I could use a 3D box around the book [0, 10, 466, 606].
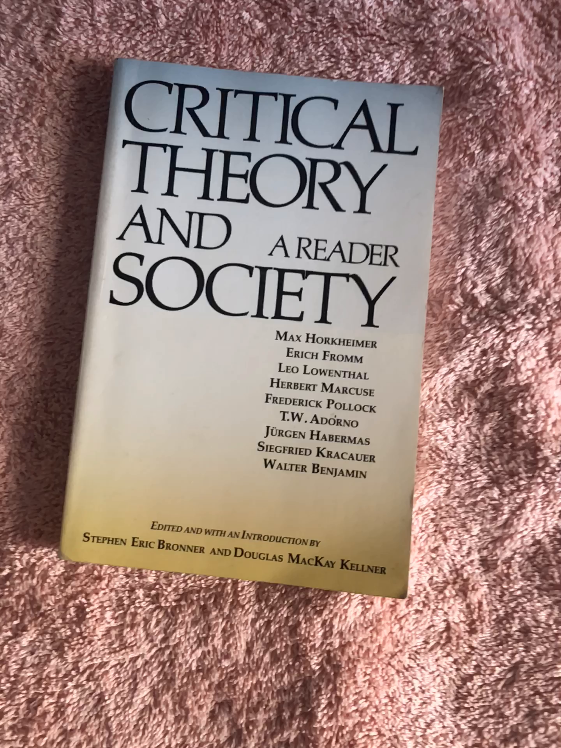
[{"bbox_3d":[-0.017,-0.029,0.280,0.170,0.050,0.230,6,85,-1],"label":"book"}]
